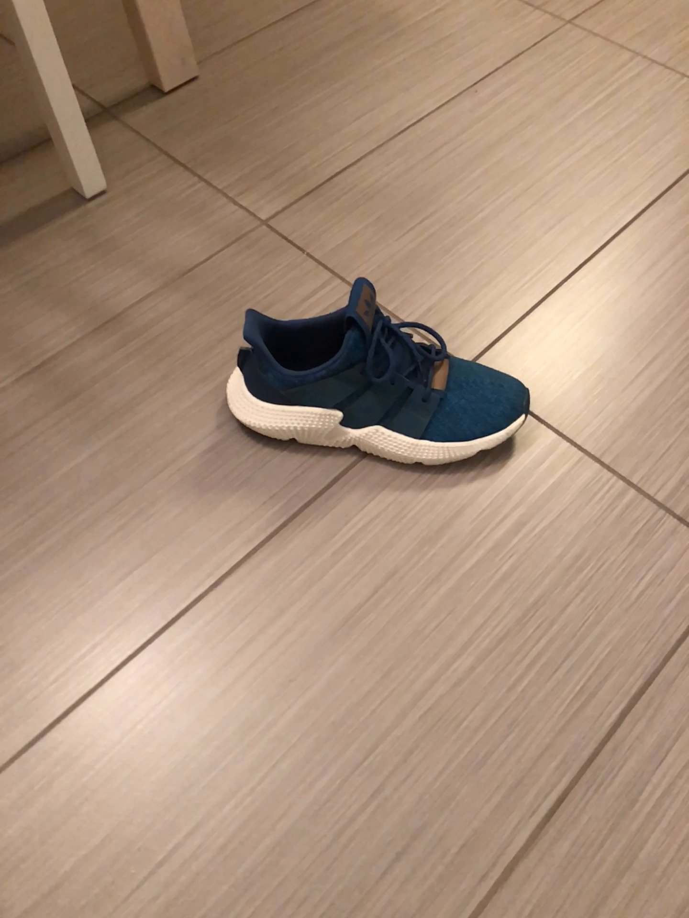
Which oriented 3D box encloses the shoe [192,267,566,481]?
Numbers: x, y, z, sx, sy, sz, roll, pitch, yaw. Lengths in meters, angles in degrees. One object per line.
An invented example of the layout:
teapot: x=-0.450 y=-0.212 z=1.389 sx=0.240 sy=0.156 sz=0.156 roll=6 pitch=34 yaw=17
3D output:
shoe: x=0.031 y=-0.073 z=0.665 sx=0.290 sy=0.119 sz=0.112 roll=6 pitch=58 yaw=3
